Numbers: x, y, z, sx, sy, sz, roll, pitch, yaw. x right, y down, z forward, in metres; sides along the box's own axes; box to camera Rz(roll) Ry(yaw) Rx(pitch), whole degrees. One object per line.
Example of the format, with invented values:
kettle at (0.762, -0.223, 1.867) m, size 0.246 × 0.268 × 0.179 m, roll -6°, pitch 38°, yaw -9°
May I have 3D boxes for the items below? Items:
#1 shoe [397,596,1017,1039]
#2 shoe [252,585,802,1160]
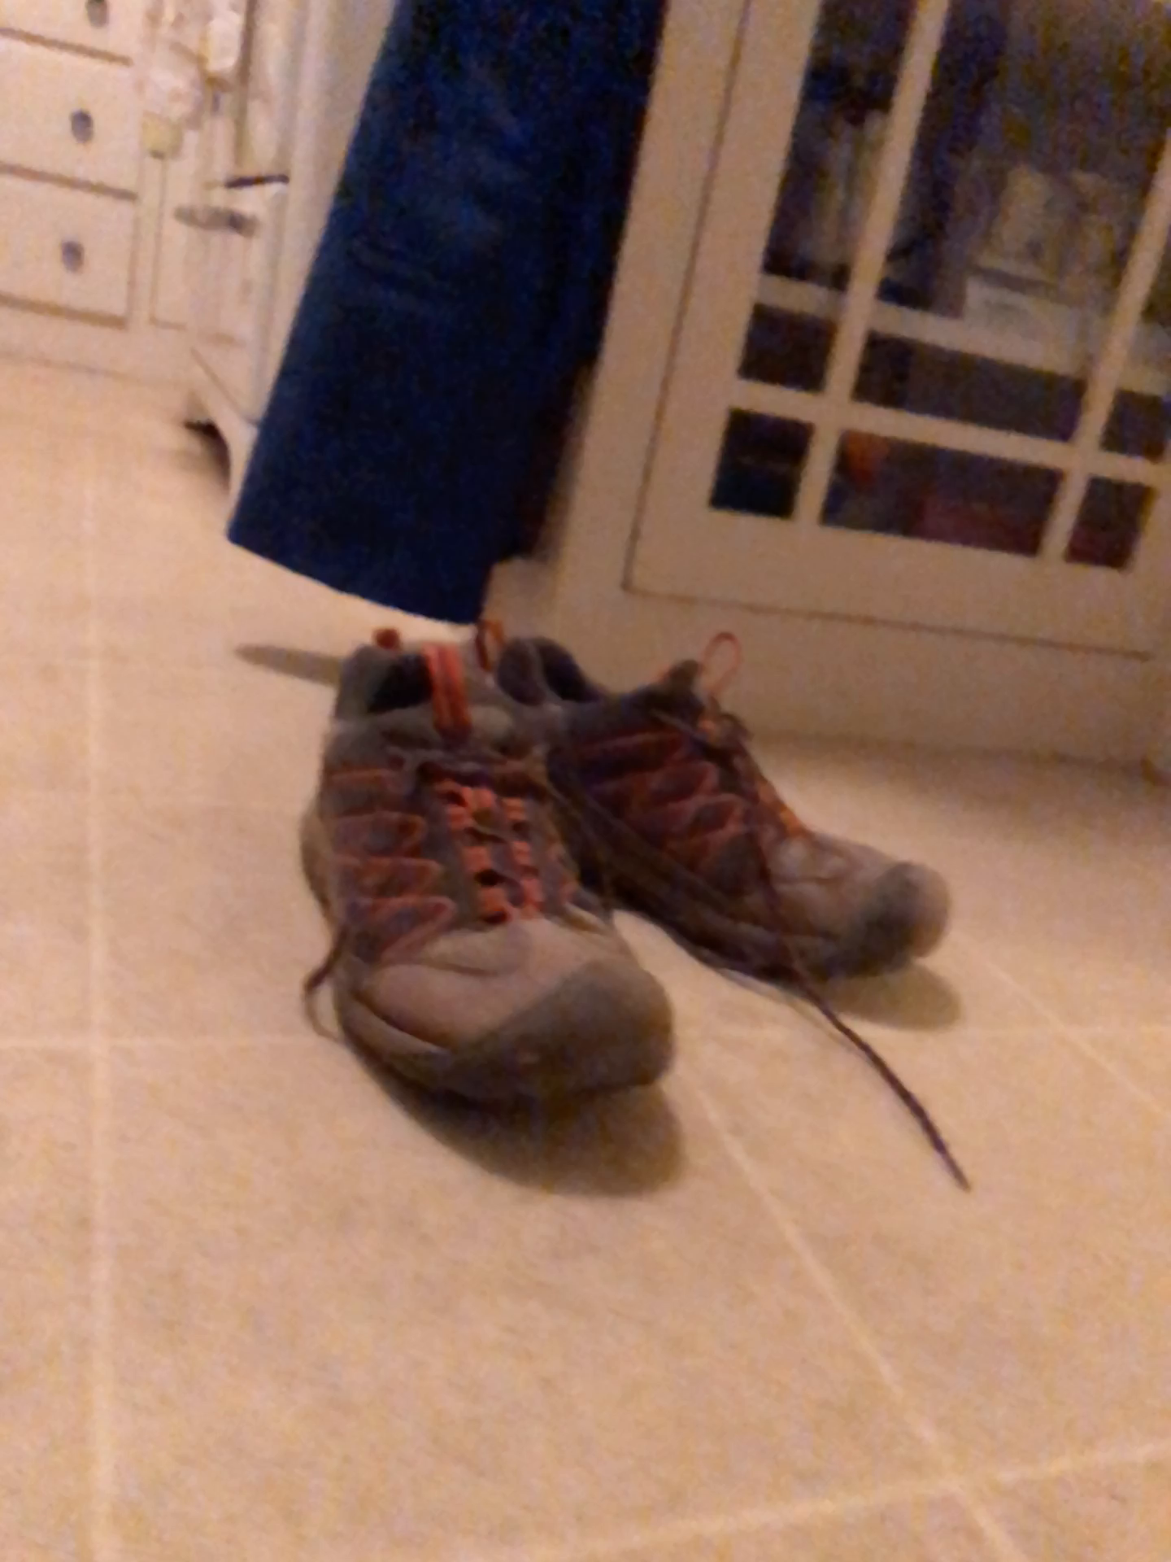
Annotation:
shoe at (0.061, 0.004, 0.694) m, size 0.282 × 0.121 × 0.128 m, roll 20°, pitch 20°, yaw 22°
shoe at (-0.050, 0.018, 0.572) m, size 0.127 × 0.121 × 0.293 m, roll 3°, pitch 21°, yaw -26°
